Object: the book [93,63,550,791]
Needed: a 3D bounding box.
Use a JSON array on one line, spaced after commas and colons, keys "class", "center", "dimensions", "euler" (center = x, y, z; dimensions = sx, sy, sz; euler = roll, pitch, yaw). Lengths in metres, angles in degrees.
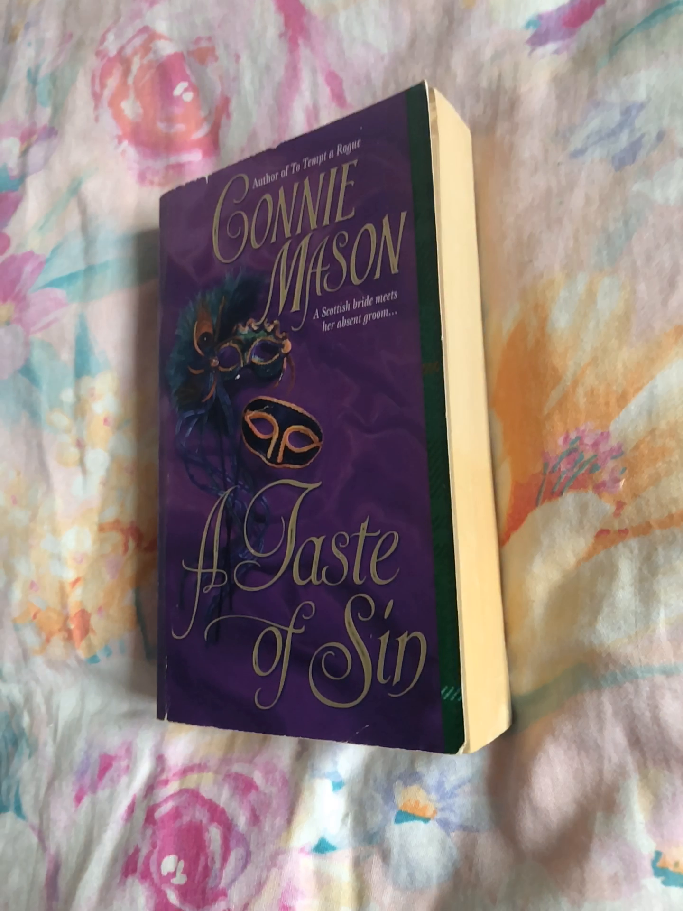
[{"class": "book", "center": [-0.010, -0.006, 0.227], "dimensions": [0.120, 0.040, 0.180], "euler": [-7, 76, 26]}]
